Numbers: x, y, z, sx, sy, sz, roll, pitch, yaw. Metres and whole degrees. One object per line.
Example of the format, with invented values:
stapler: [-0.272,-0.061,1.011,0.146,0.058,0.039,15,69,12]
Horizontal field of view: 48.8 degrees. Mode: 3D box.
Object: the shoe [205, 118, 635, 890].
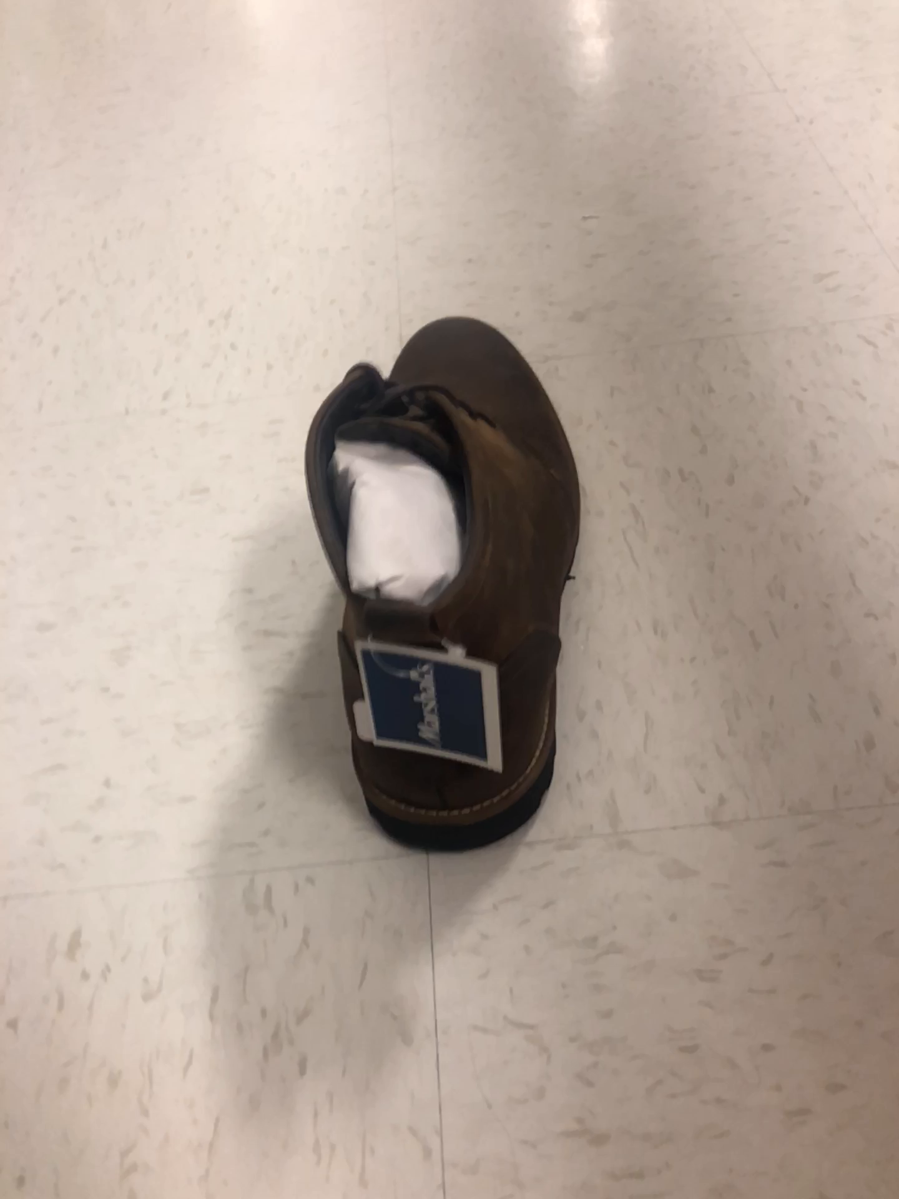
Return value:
shoe: [0.000,-0.050,0.418,0.115,0.167,0.284,-4,49,5]
